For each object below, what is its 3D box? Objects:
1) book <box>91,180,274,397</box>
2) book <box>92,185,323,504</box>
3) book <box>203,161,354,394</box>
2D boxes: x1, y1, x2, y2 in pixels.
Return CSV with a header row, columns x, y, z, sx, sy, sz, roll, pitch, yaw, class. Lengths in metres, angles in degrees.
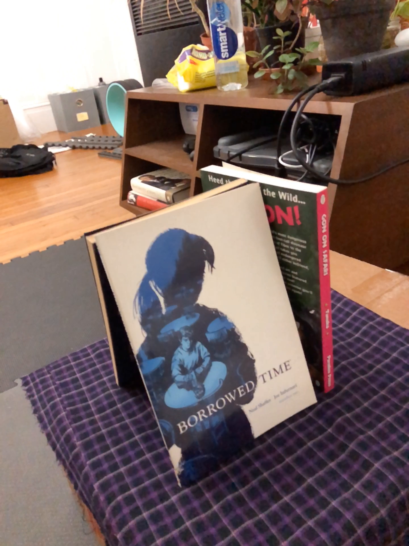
x,y,z,sx,sy,sz,roll,pitch,yaw,class
-0.015,0.023,0.404,0.150,0.199,0.010,-22,51,-23,book
0.014,0.049,0.342,0.140,0.200,0.010,-22,11,-27,book
0.067,0.002,0.409,0.020,0.189,0.141,-30,34,-24,book
